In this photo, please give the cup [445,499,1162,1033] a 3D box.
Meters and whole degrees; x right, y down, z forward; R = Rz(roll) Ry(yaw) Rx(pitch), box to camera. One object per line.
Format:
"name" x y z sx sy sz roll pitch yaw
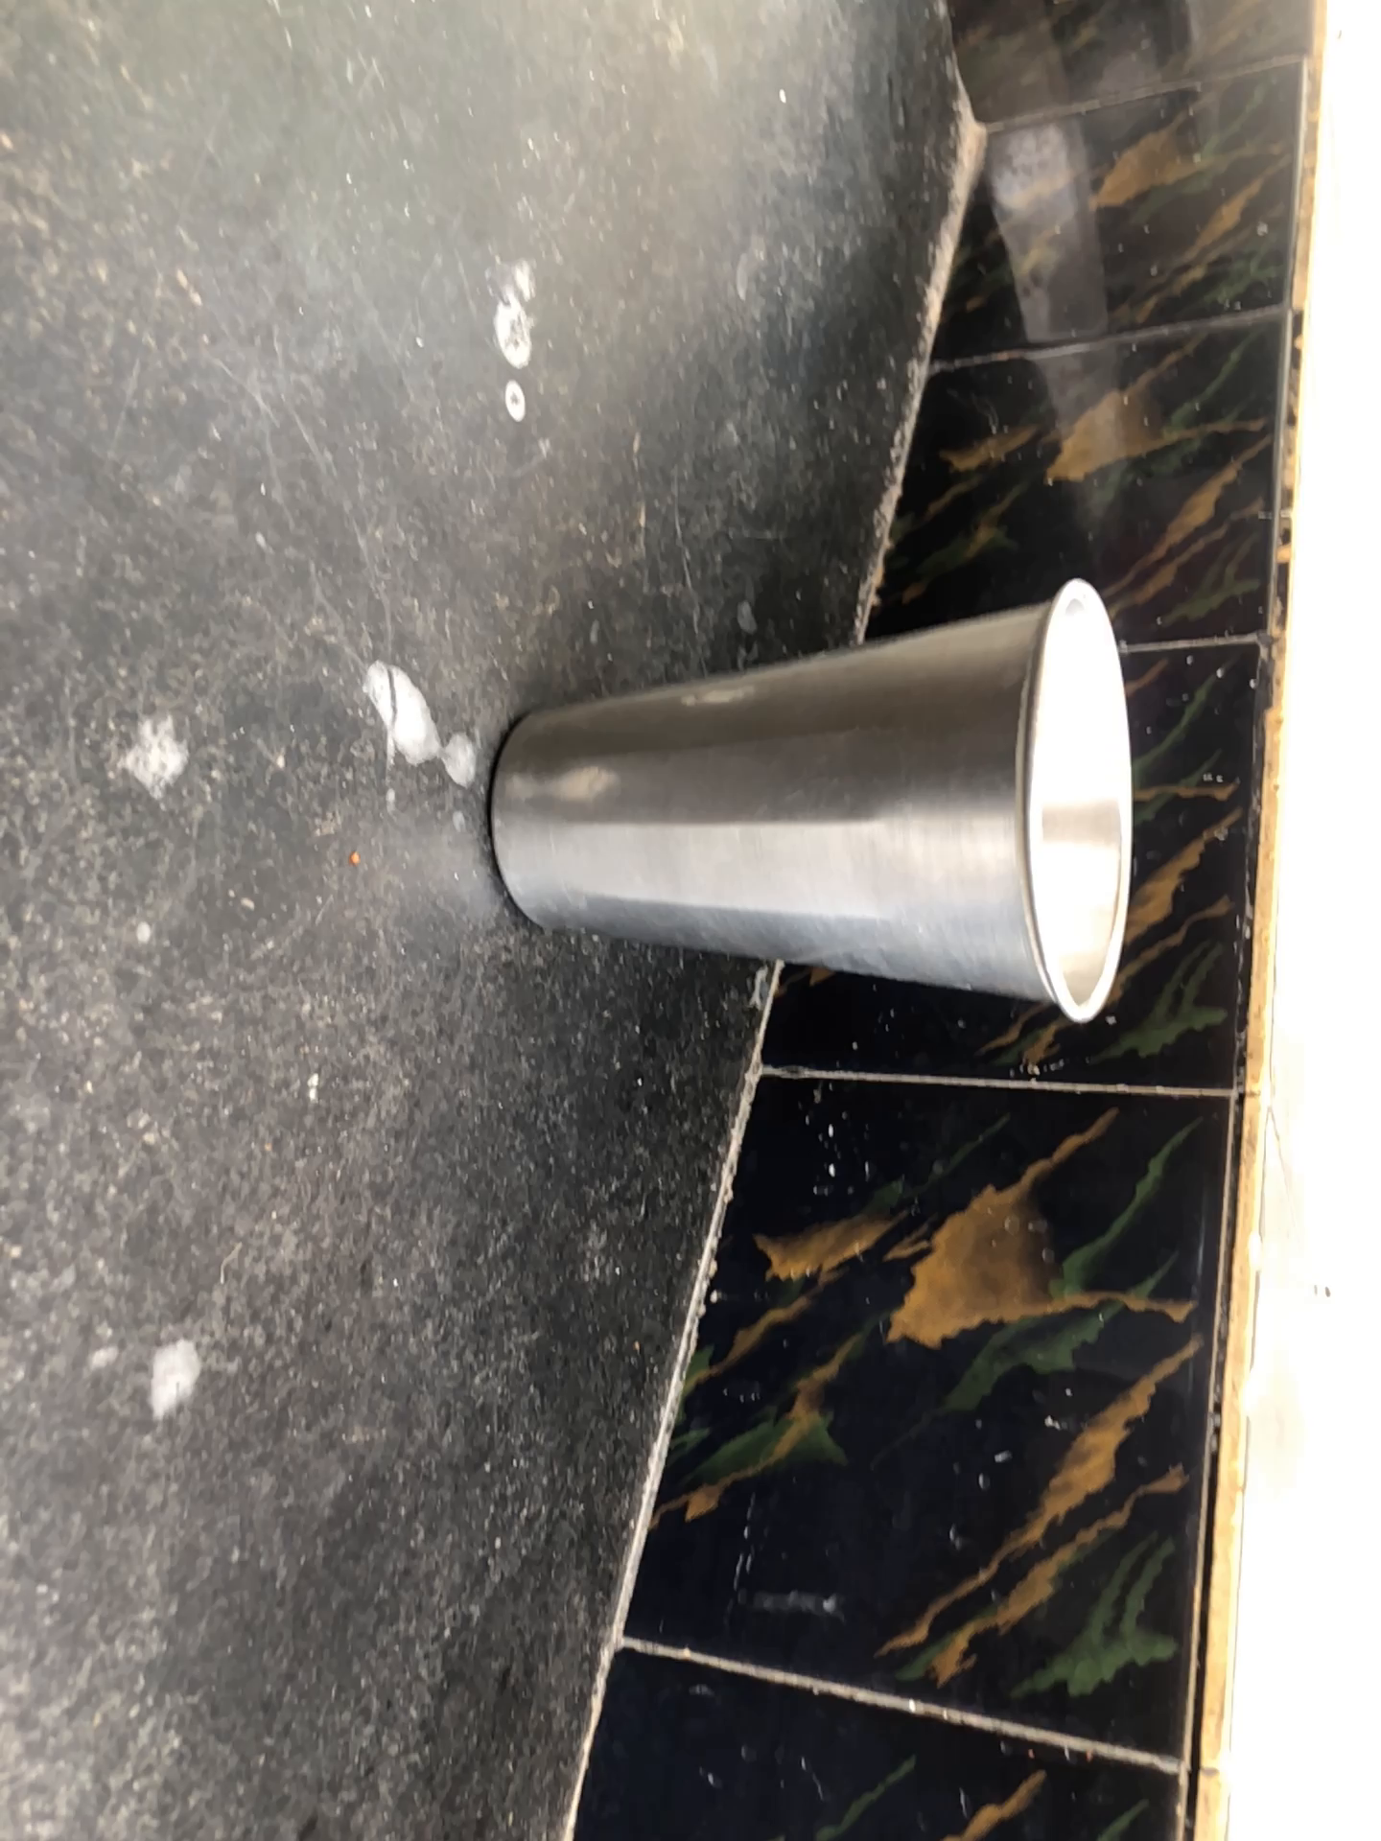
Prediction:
"cup" 0.026 -0.025 0.306 0.071 0.119 0.080 29 64 -62
